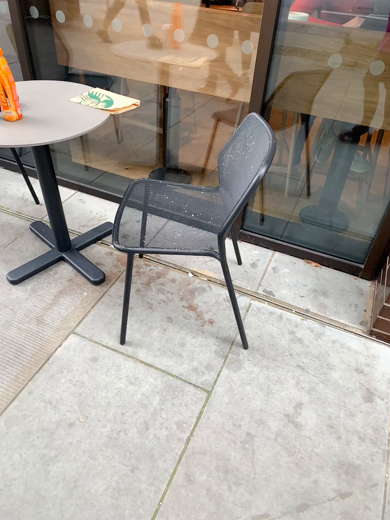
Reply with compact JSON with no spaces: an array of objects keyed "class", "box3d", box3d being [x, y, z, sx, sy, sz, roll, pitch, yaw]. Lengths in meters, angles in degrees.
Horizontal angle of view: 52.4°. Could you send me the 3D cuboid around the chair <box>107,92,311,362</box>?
[{"class":"chair","box3d":[0.025,-0.120,1.526,0.540,0.797,0.596,5,39,0]}]
